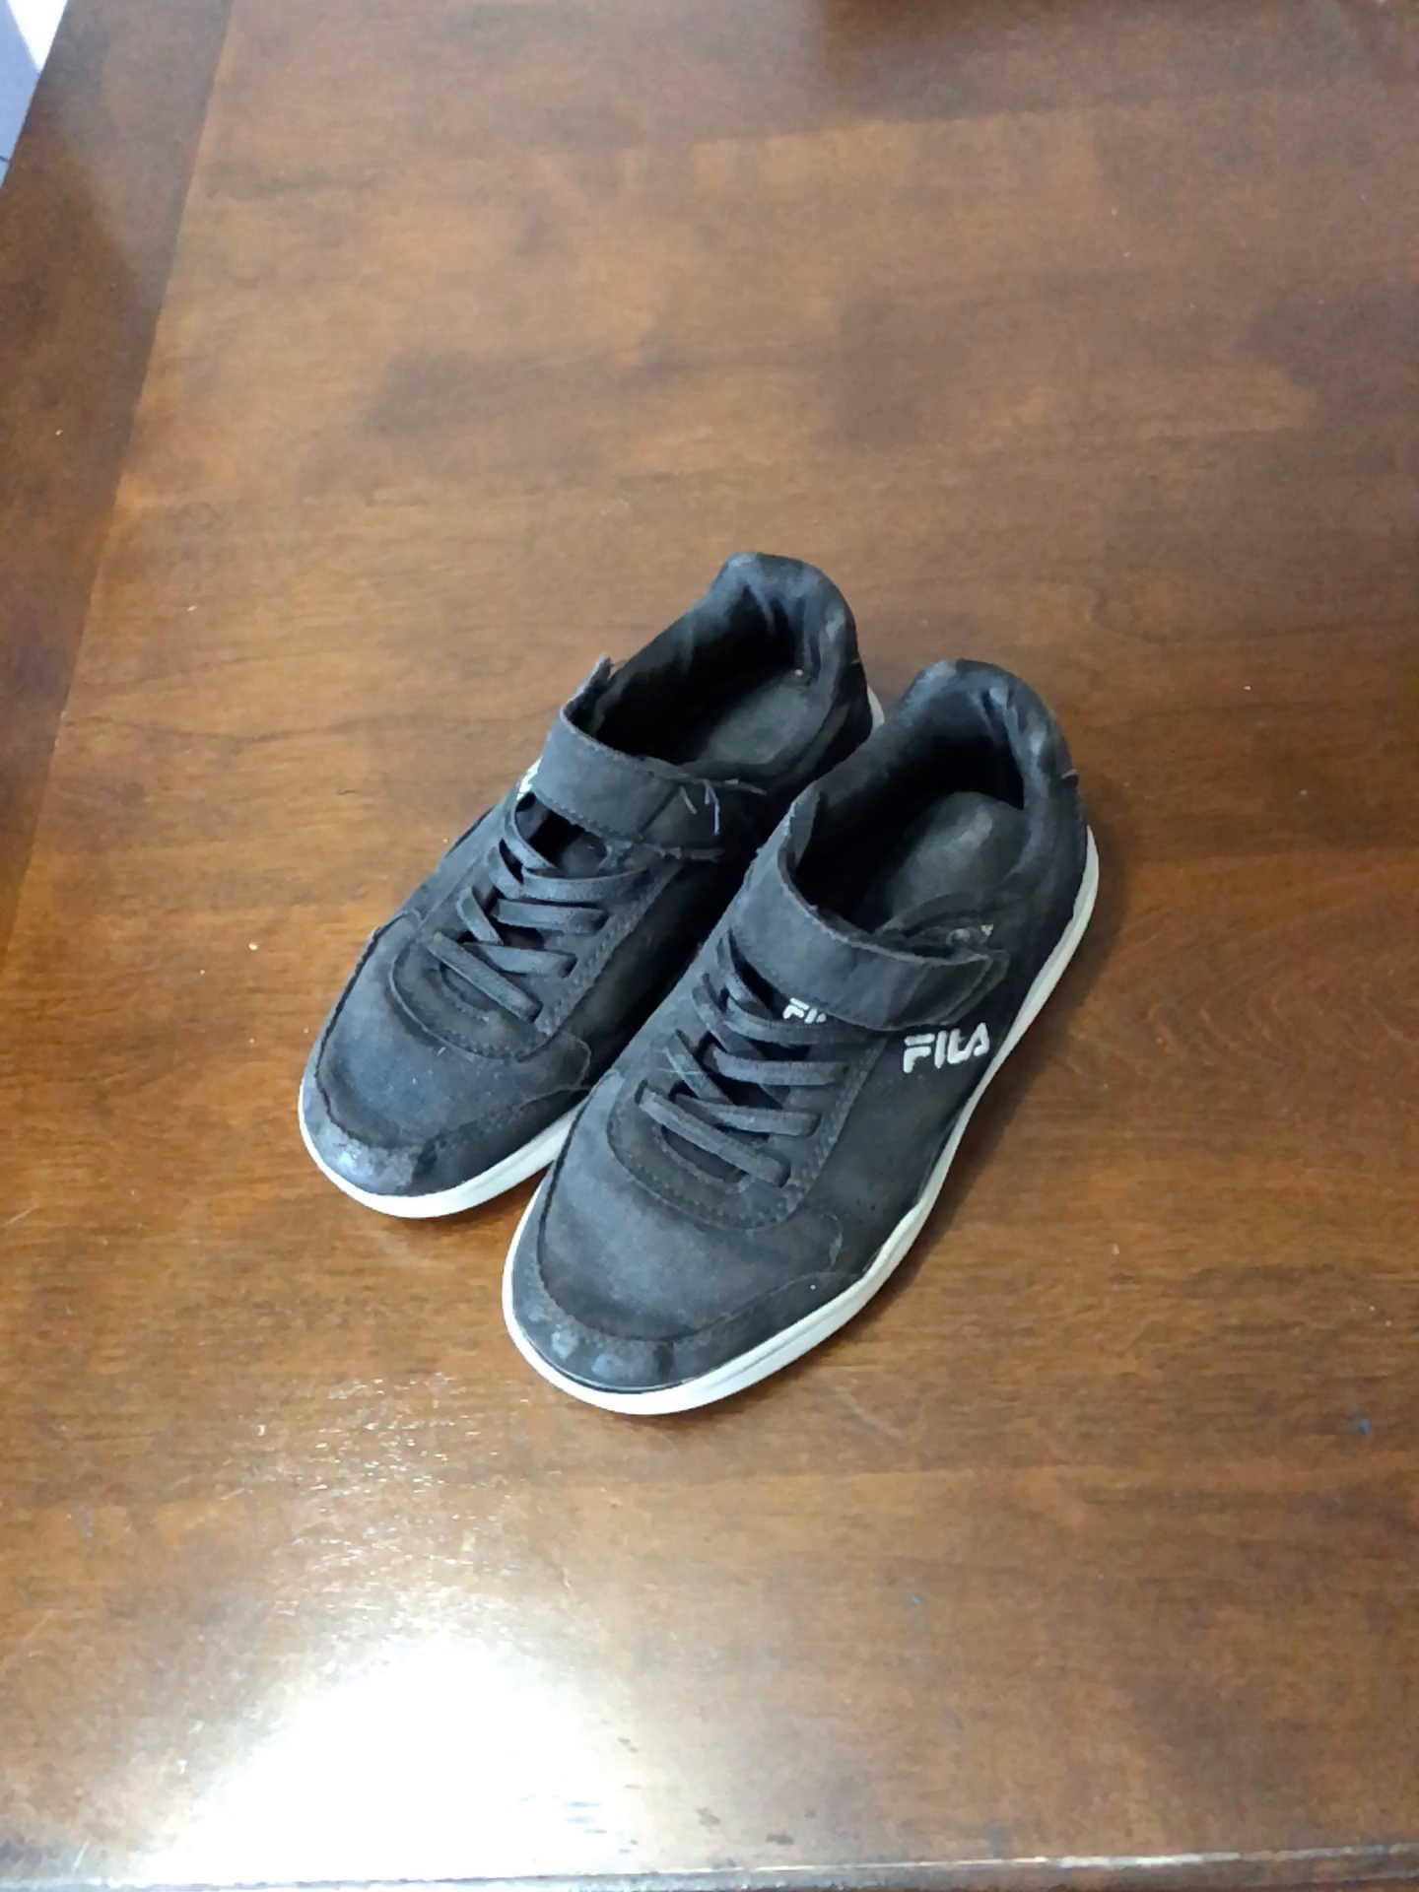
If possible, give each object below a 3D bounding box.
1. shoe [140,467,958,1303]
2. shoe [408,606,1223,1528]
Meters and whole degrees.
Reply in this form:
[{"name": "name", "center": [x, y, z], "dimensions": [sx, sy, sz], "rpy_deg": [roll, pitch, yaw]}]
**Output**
[{"name": "shoe", "center": [-0.033, -0.022, 0.433], "dimensions": [0.090, 0.080, 0.210], "rpy_deg": [34, 68, 22]}, {"name": "shoe", "center": [0.034, 0.025, 0.406], "dimensions": [0.090, 0.080, 0.210], "rpy_deg": [30, 66, 21]}]
